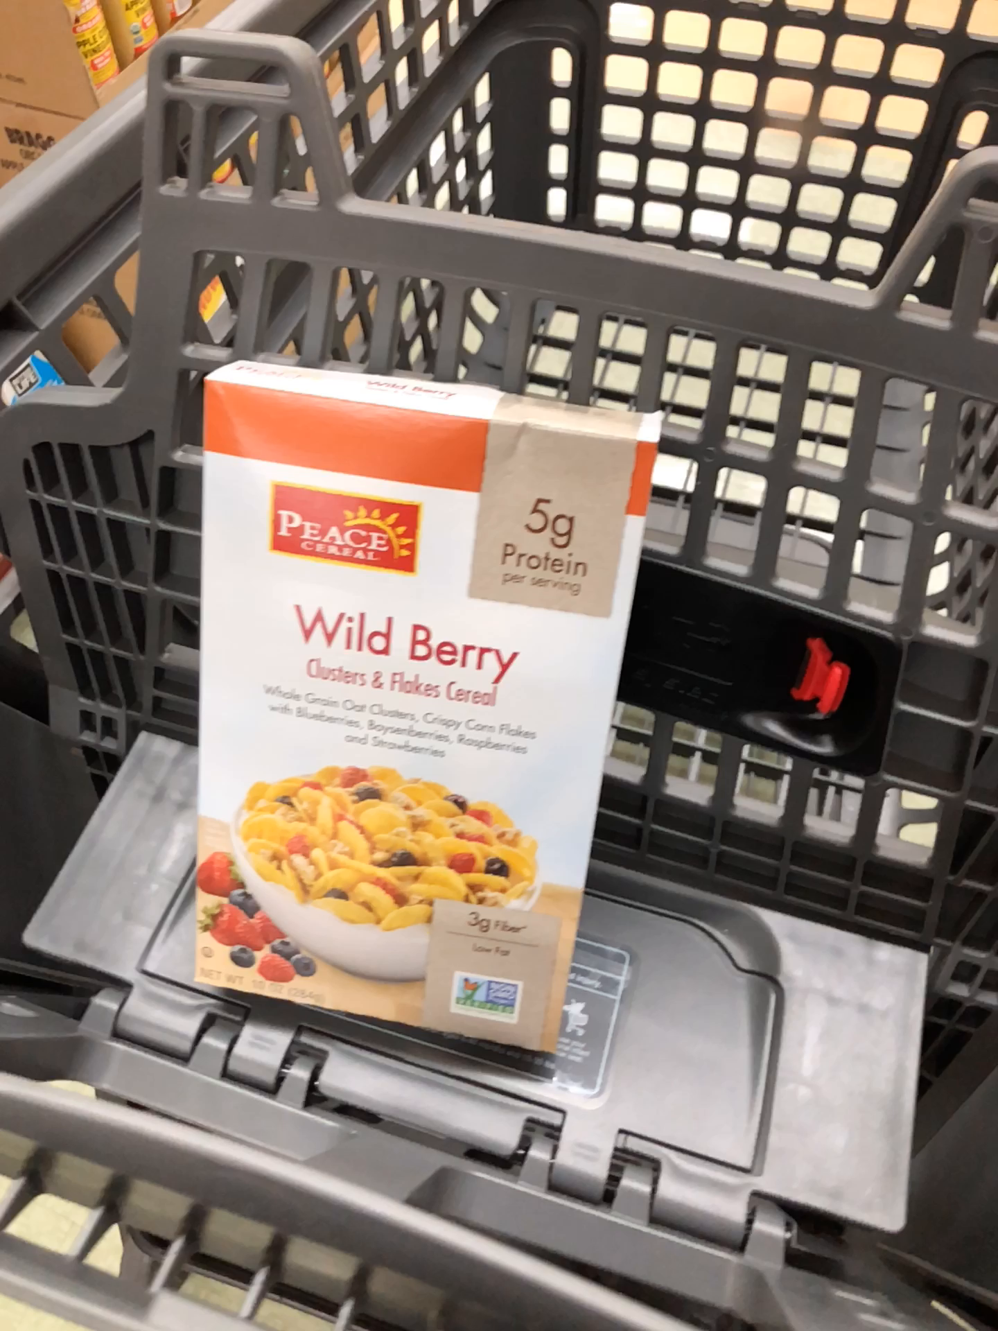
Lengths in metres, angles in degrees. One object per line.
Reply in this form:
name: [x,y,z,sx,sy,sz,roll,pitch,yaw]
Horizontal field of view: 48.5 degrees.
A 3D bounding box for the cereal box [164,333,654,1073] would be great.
cereal box: [-0.040,0.017,0.428,0.160,0.260,0.060,9,20,7]
